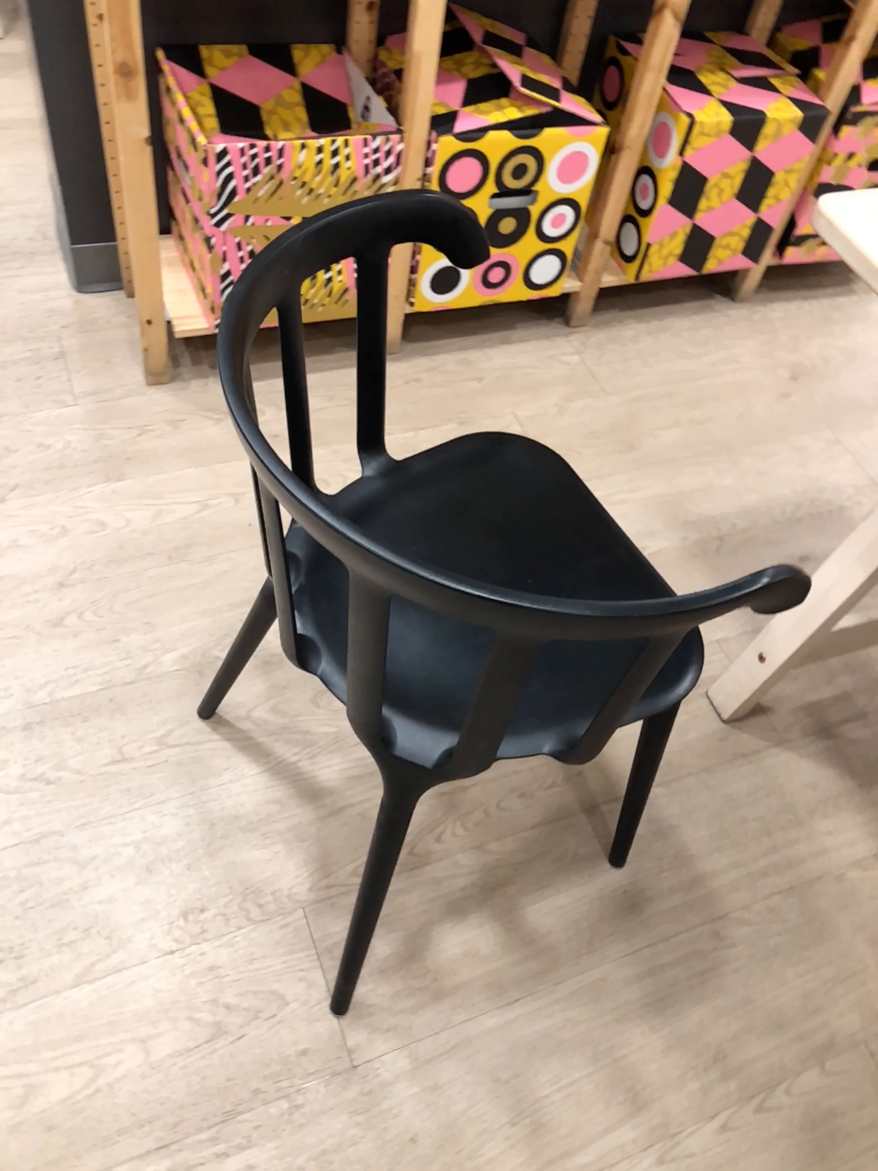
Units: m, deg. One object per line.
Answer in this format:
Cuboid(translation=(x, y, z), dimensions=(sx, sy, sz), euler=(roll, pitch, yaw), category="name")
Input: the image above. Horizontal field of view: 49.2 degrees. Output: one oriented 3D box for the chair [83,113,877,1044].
Cuboid(translation=(0.027, 0.008, 1.000), dimensions=(0.531, 0.686, 0.532), euler=(-19, 58, -23), category="chair")
